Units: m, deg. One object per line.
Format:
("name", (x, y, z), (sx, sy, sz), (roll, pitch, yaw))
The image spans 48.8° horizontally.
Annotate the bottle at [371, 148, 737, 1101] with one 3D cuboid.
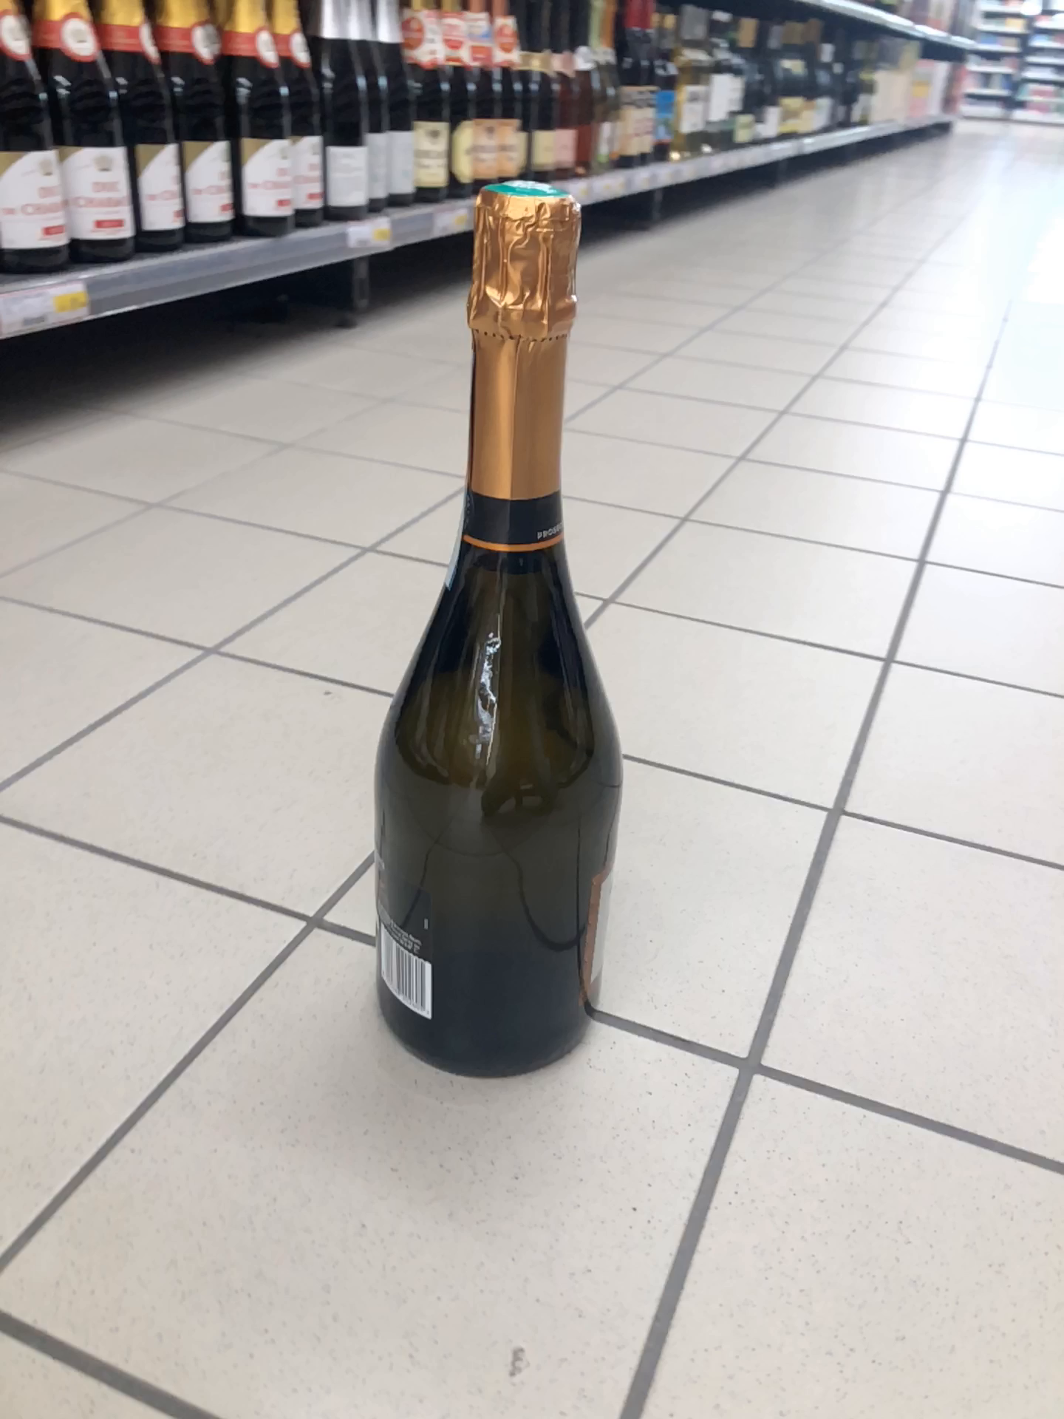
("bottle", (-0.008, -0.019, 0.419), (0.090, 0.318, 0.100), (-2, 28, -11))
